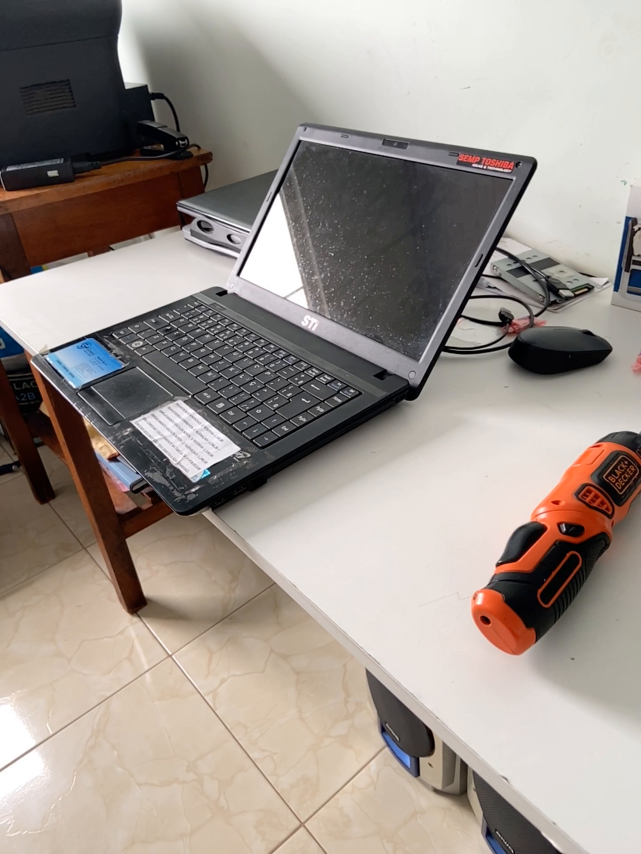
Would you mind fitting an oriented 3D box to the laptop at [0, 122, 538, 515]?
[{"bbox_3d":[-0.062,-0.151,0.627,0.385,0.159,0.336,-28,40,-28],"label":"laptop"}]
